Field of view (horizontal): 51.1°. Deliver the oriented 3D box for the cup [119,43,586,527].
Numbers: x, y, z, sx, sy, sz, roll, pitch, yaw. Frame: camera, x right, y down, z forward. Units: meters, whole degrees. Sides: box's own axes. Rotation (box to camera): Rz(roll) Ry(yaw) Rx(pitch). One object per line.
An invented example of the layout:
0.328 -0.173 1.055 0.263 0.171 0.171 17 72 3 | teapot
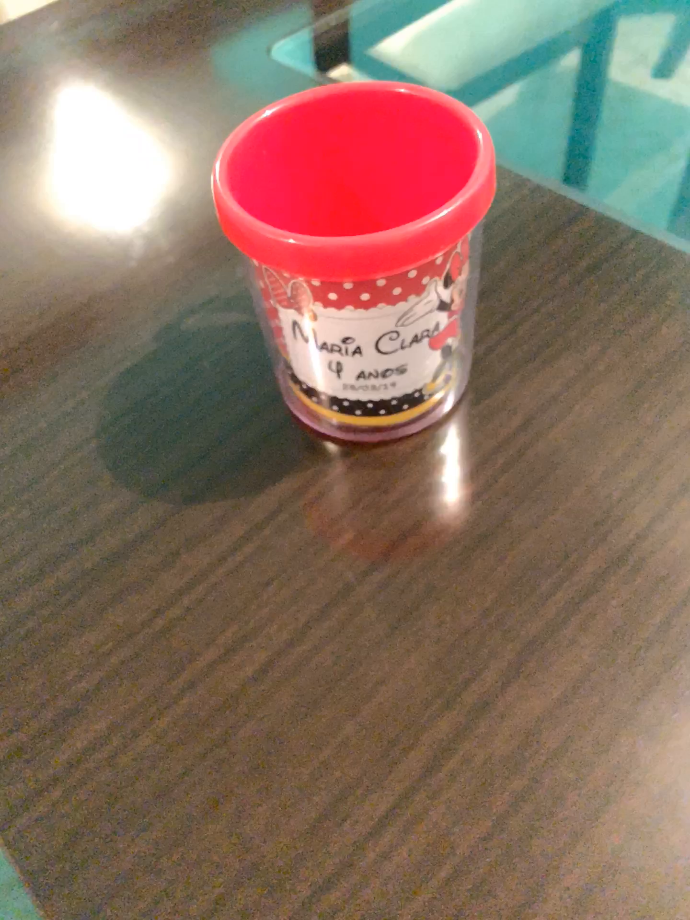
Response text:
0.004 -0.066 0.273 0.090 0.110 0.120 -41 60 -21 | cup
